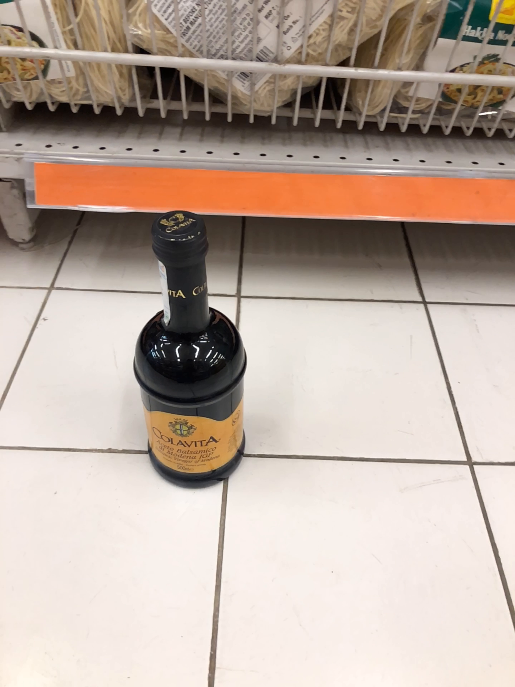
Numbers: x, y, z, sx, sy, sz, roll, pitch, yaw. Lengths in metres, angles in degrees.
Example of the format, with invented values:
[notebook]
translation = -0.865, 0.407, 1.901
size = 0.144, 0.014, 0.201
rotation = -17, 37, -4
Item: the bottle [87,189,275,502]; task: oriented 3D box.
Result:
[bottle]
translation = -0.039, 0.011, 0.385
size = 0.090, 0.199, 0.091
rotation = 1, 44, -1
